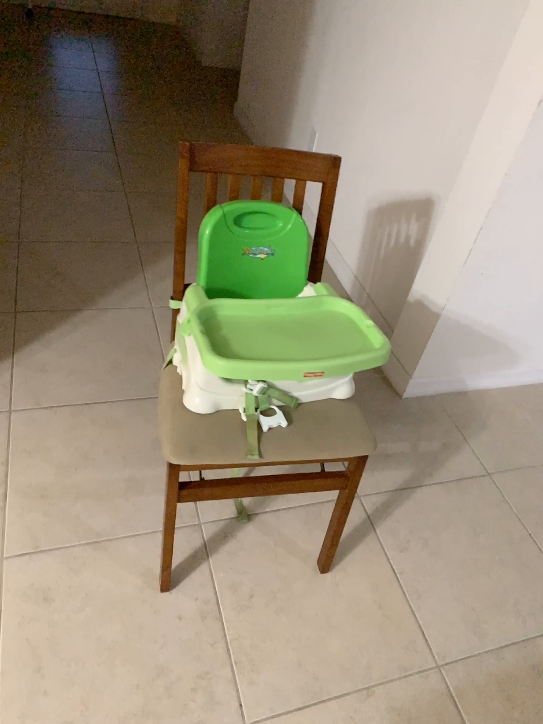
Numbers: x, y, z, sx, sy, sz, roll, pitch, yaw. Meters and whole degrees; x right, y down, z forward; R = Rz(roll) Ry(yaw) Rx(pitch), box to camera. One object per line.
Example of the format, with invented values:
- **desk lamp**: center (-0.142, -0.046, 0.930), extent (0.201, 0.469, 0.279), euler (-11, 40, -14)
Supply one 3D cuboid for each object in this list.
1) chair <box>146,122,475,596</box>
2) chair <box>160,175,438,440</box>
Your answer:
- **chair**: center (-0.038, 0.030, 1.265), extent (0.455, 0.882, 0.559), euler (0, 42, -14)
- **chair**: center (0.009, -0.117, 1.101), extent (0.405, 0.328, 0.387), euler (-2, 43, -17)
